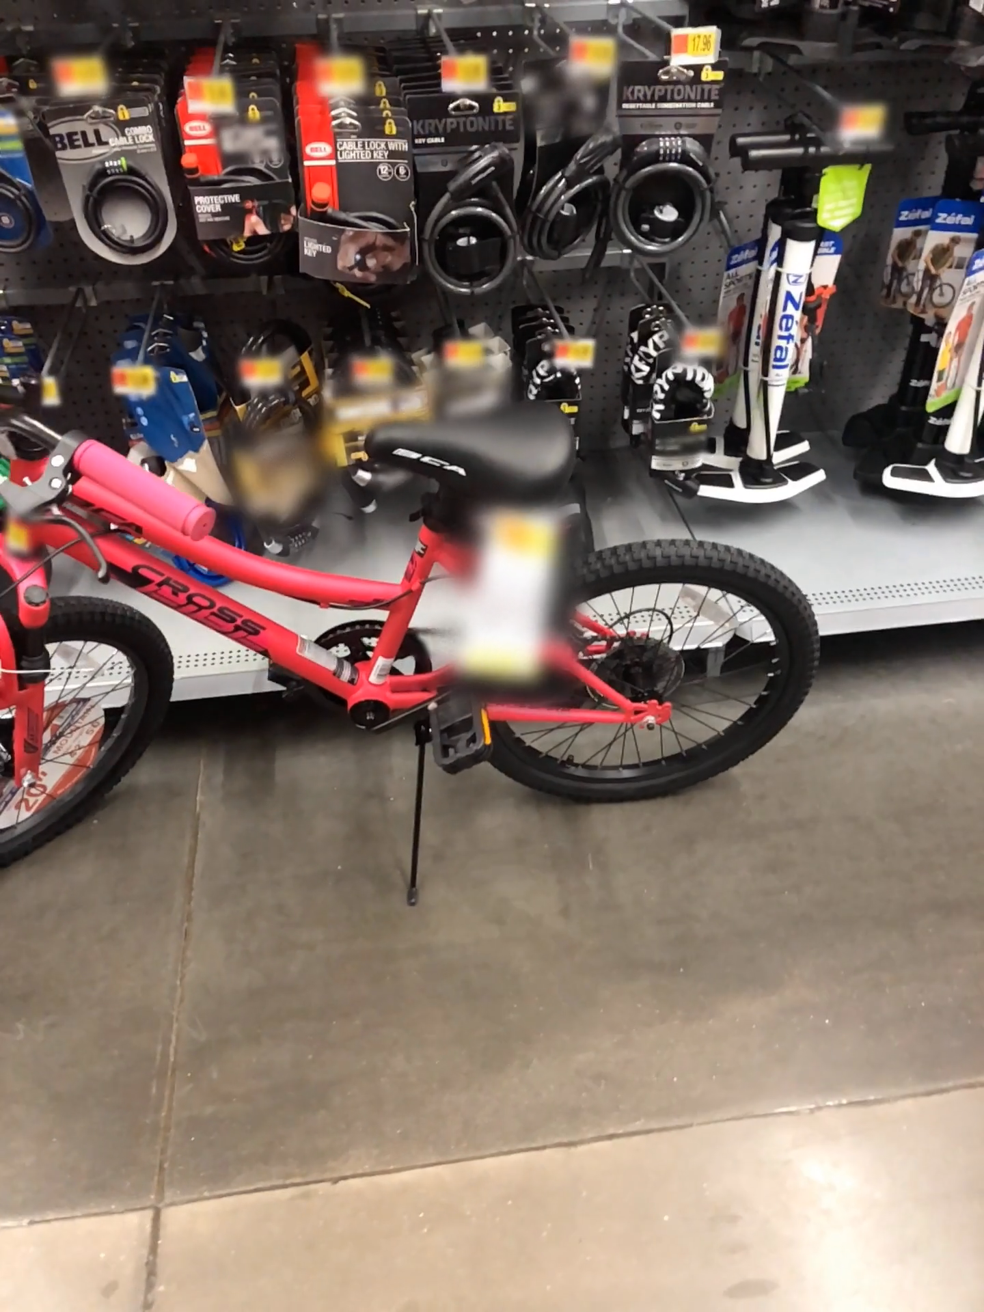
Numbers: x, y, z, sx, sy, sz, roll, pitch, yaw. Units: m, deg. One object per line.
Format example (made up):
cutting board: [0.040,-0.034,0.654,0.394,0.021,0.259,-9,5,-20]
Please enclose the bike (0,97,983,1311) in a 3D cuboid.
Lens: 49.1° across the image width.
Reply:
bike: [-0.166,0.022,1.124,1.223,0.877,0.611,-9,39,-9]
